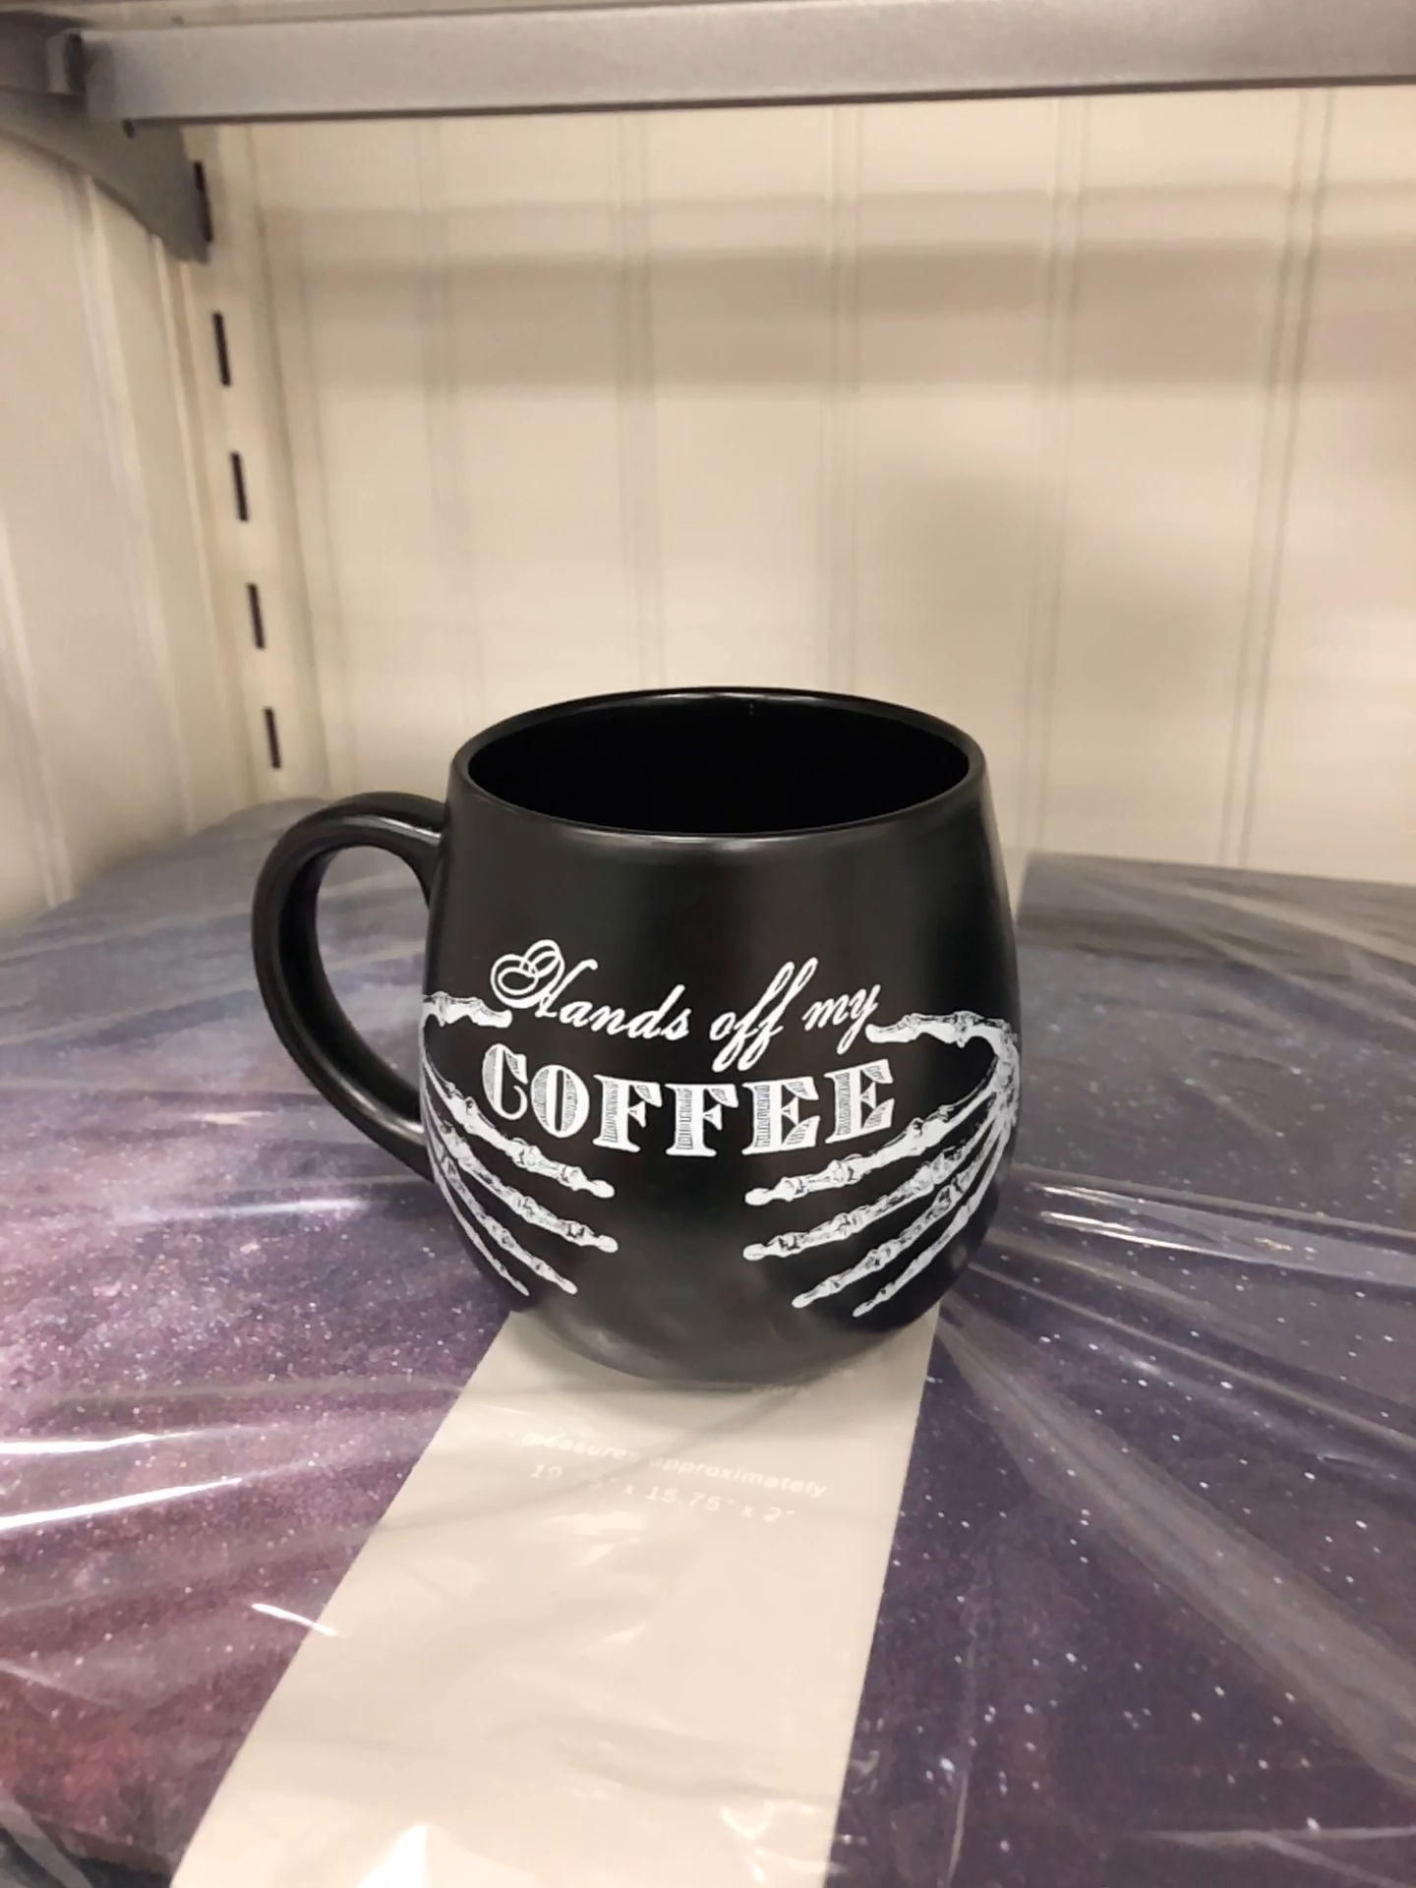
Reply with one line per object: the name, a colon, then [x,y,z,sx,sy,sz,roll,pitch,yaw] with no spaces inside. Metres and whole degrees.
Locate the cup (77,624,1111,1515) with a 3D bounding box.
cup: [-0.013,0.008,0.280,0.140,0.099,0.101,9,26,22]
